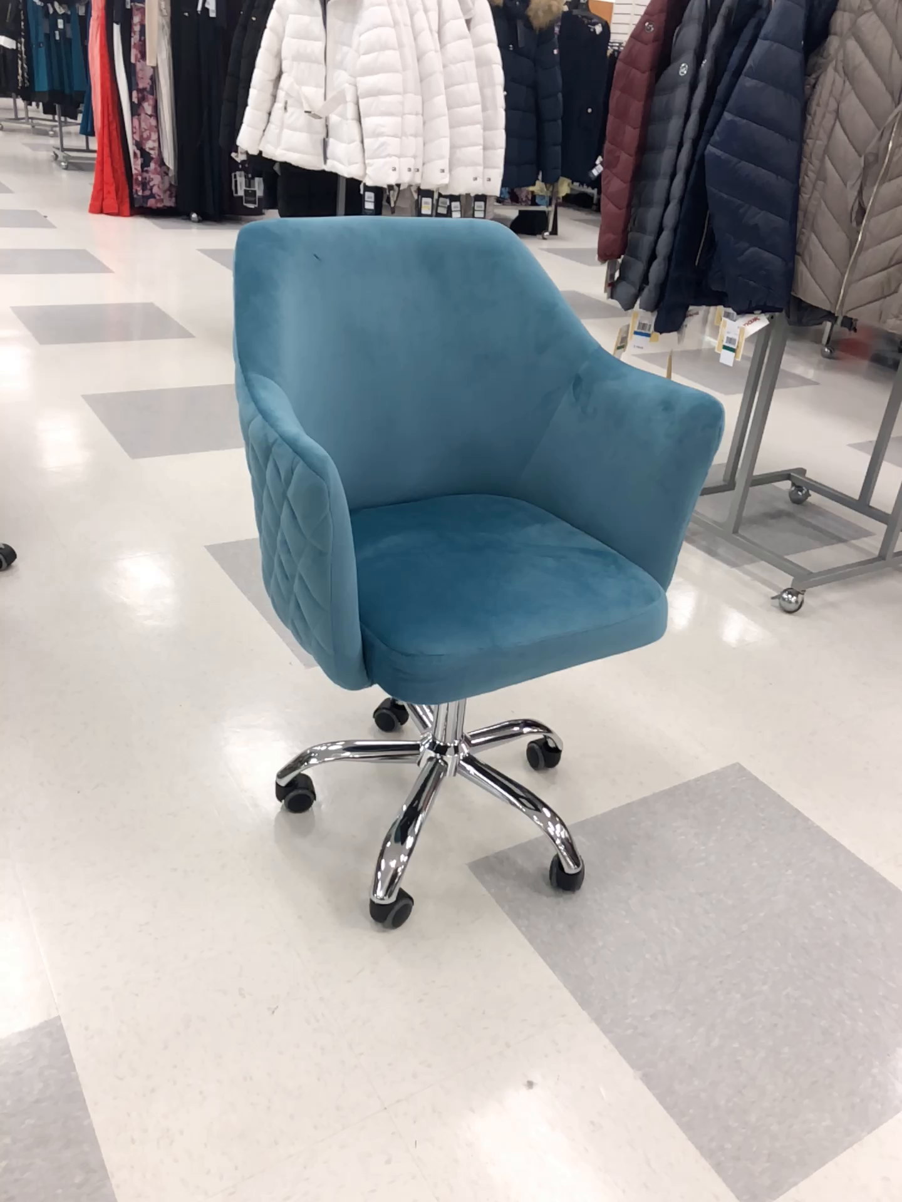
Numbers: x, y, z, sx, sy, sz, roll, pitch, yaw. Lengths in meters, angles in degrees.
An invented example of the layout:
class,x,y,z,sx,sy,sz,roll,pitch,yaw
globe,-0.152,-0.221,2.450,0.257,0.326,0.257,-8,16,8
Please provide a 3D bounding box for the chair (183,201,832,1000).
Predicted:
class,x,y,z,sx,sy,sz,roll,pitch,yaw
chair,0.008,-0.052,1.424,0.596,0.888,0.564,-11,33,-29

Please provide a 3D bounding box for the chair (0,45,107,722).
class,x,y,z,sx,sy,sz,roll,pitch,yaw
chair,-1.204,-0.454,1.880,0.735,0.967,0.655,21,31,25
